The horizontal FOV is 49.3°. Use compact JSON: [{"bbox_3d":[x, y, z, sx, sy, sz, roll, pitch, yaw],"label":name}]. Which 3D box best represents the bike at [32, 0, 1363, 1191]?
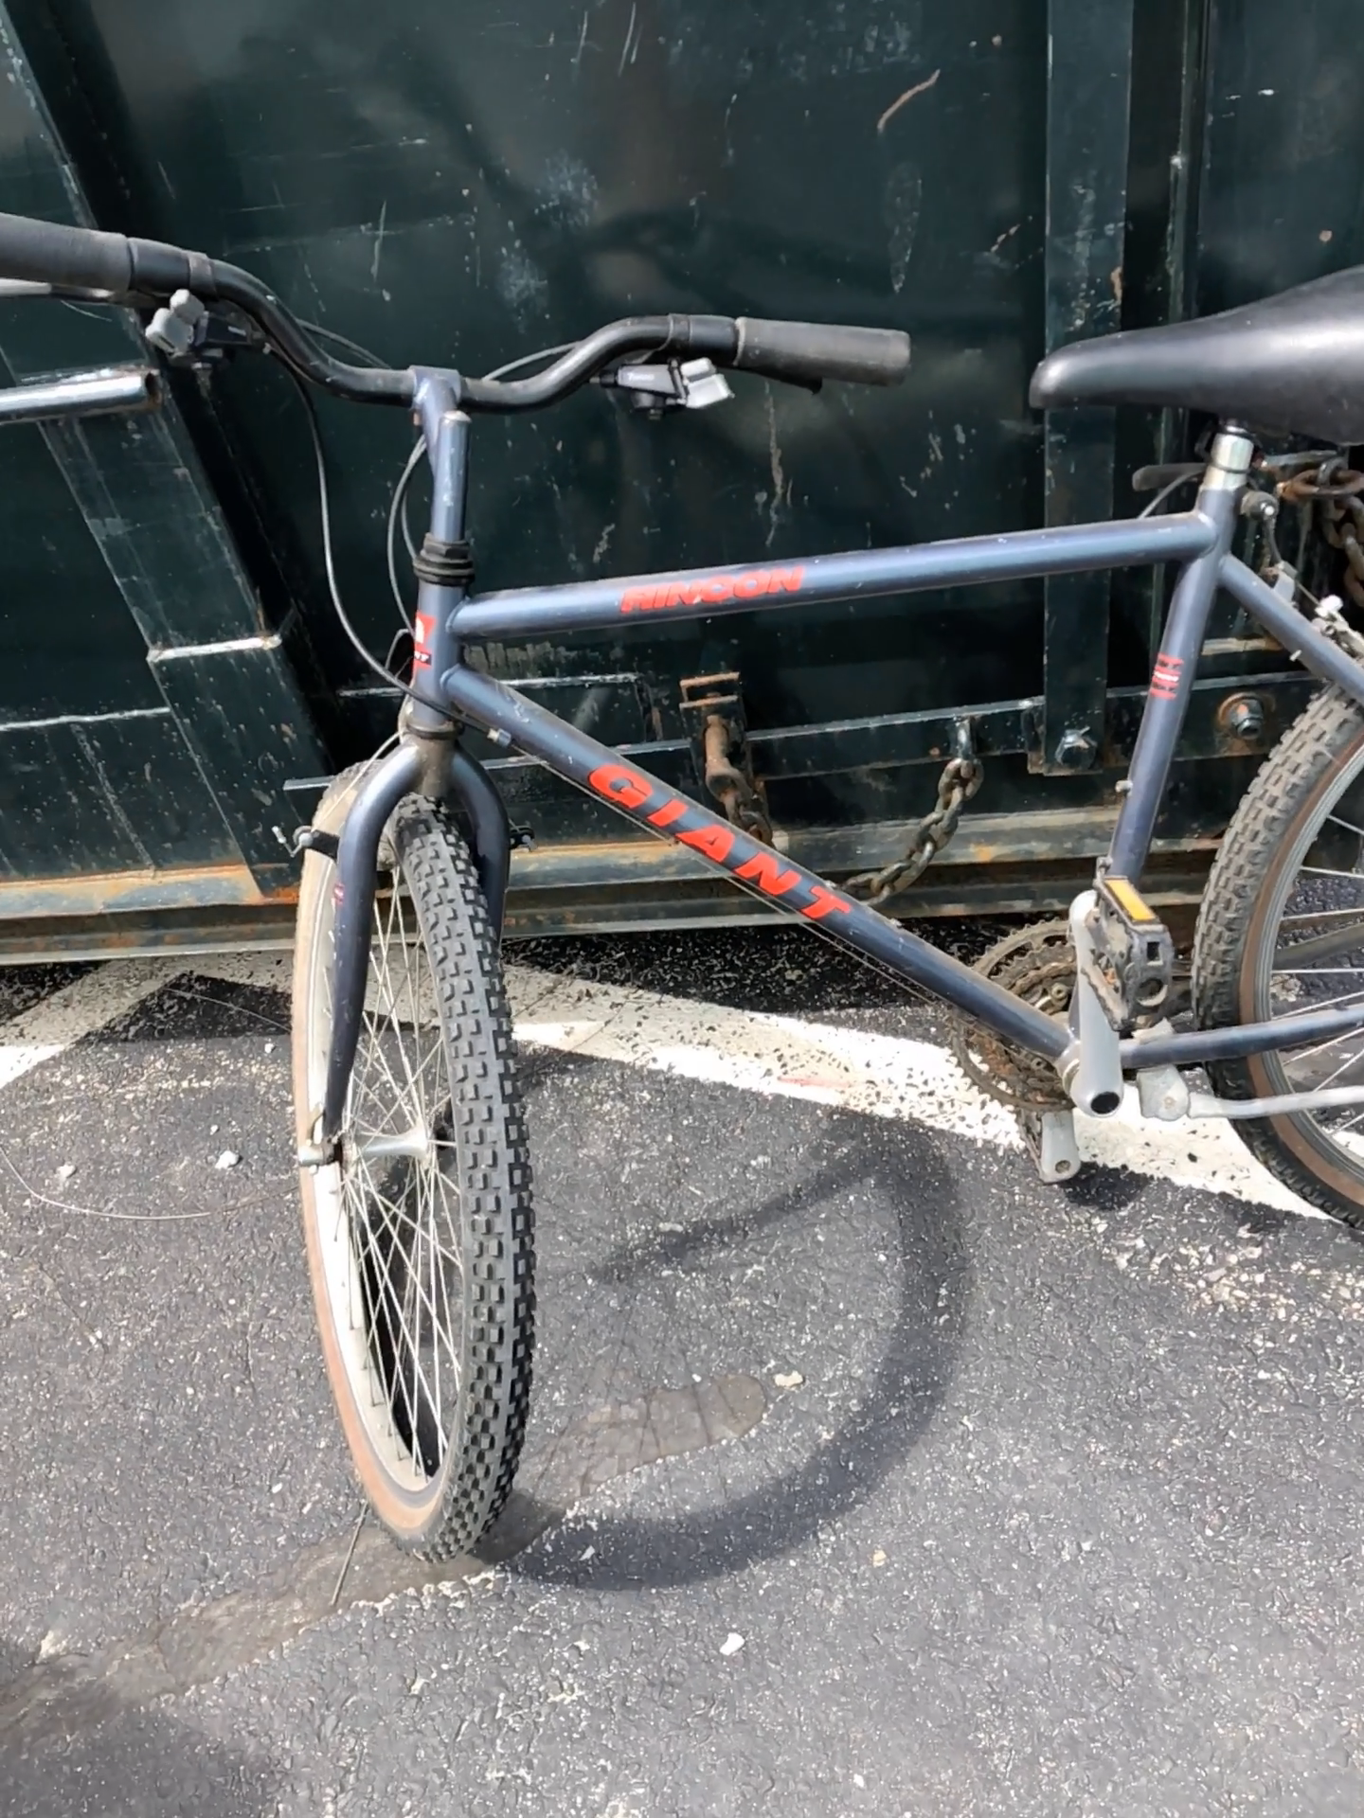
[{"bbox_3d":[0.135,-0.328,1.293,1.098,0.833,0.638,1,48,12],"label":"bike"}]
